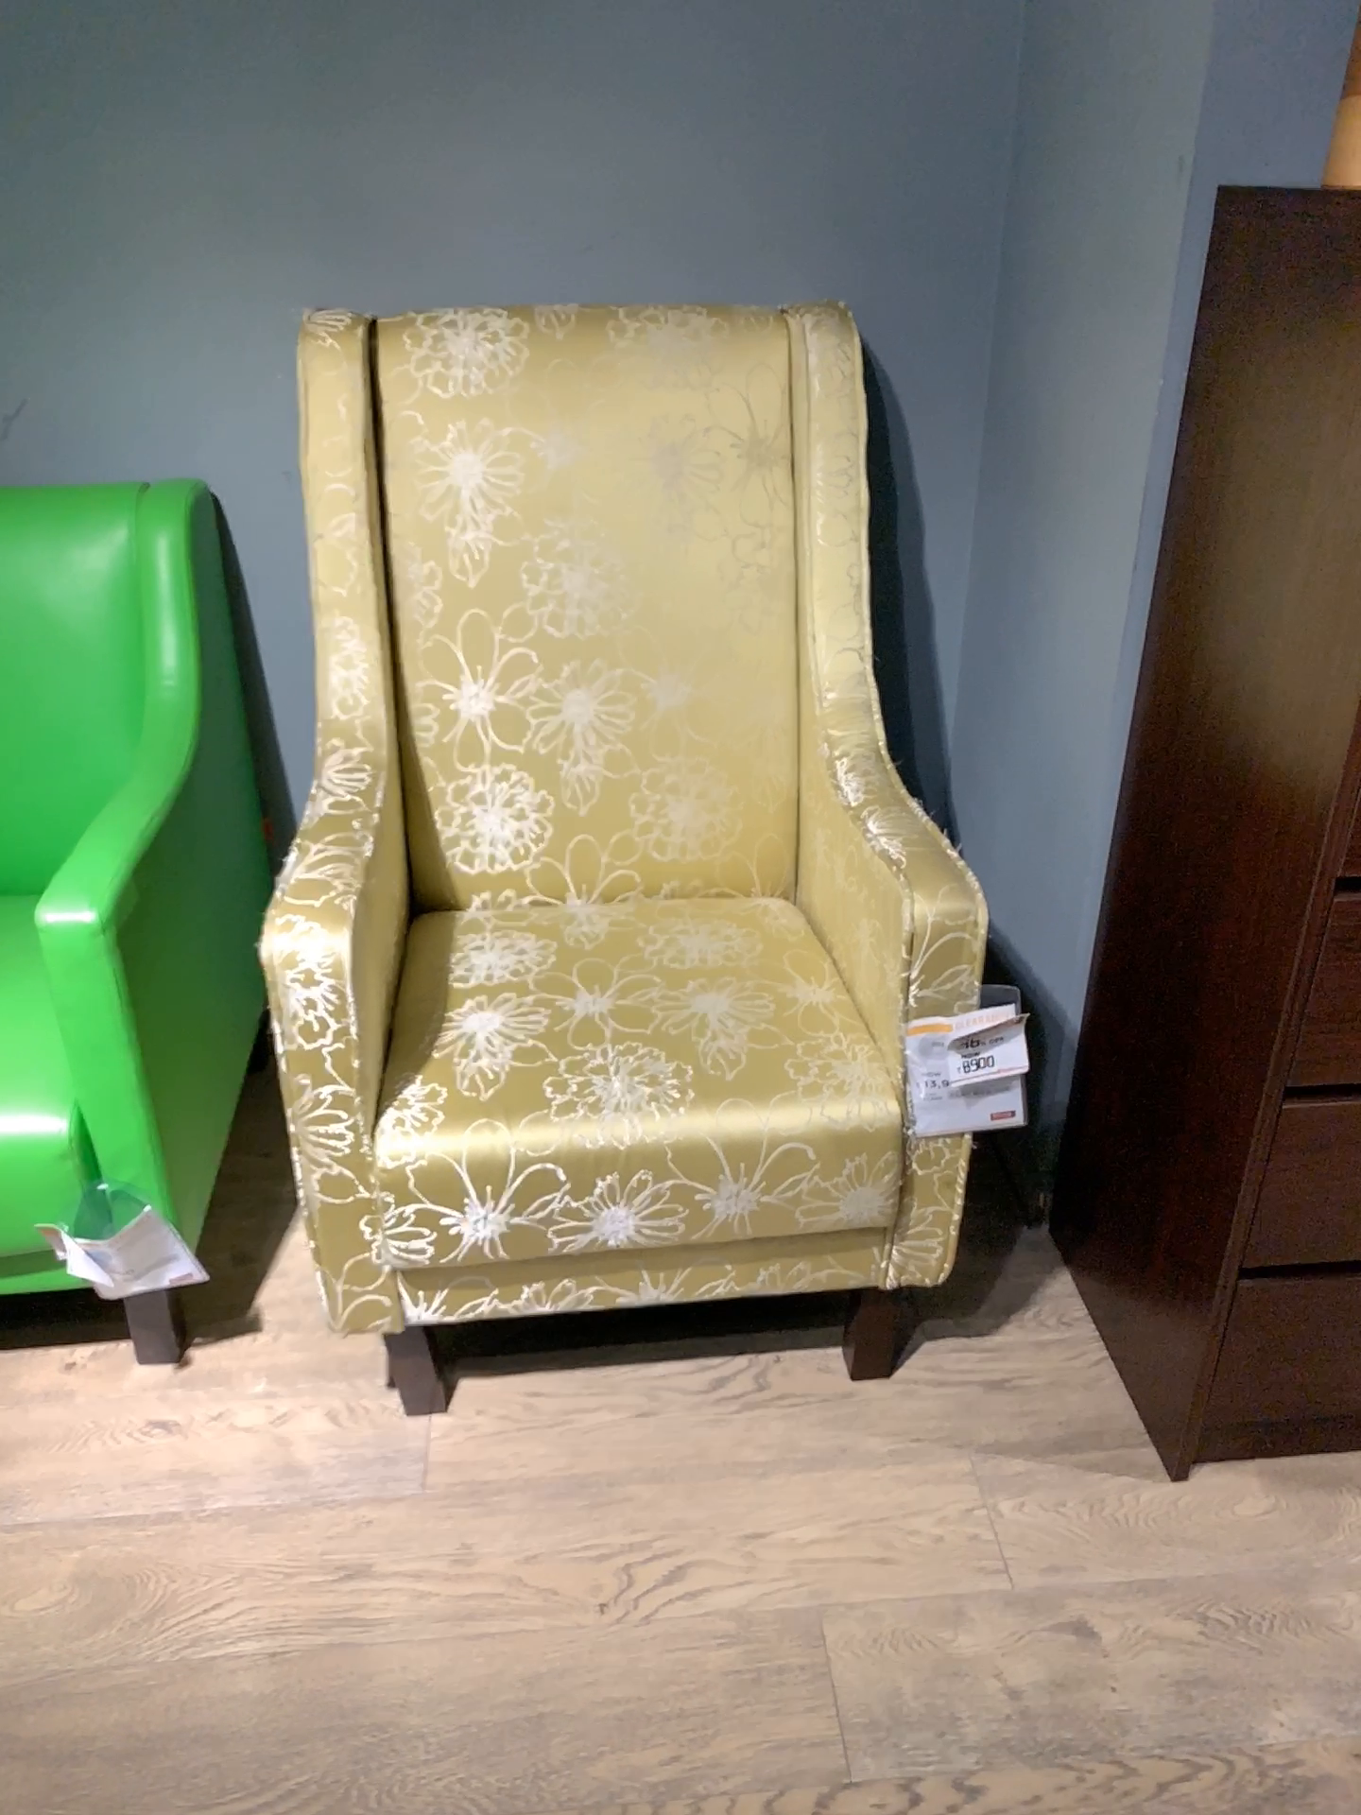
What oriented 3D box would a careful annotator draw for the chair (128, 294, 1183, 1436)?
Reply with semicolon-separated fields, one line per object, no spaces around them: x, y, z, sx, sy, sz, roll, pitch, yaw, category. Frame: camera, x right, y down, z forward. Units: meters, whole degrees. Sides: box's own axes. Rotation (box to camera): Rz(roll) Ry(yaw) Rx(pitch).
-0.056;-0.141;1.687;0.780;1.026;0.954;-3;28;-5;chair
